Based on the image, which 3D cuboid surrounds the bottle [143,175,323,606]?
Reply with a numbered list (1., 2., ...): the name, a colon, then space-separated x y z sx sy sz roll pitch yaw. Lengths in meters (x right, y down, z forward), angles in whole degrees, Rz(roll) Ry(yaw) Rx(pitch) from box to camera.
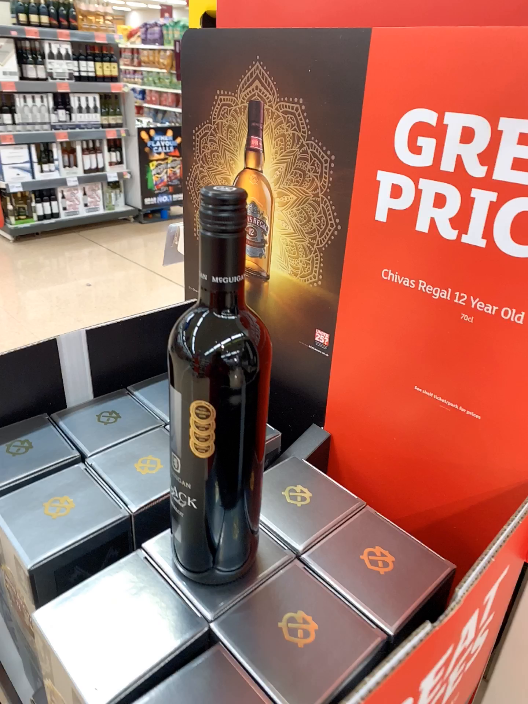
1. bottle: -0.026 0.035 0.372 0.080 0.287 0.071 -12 31 -26
